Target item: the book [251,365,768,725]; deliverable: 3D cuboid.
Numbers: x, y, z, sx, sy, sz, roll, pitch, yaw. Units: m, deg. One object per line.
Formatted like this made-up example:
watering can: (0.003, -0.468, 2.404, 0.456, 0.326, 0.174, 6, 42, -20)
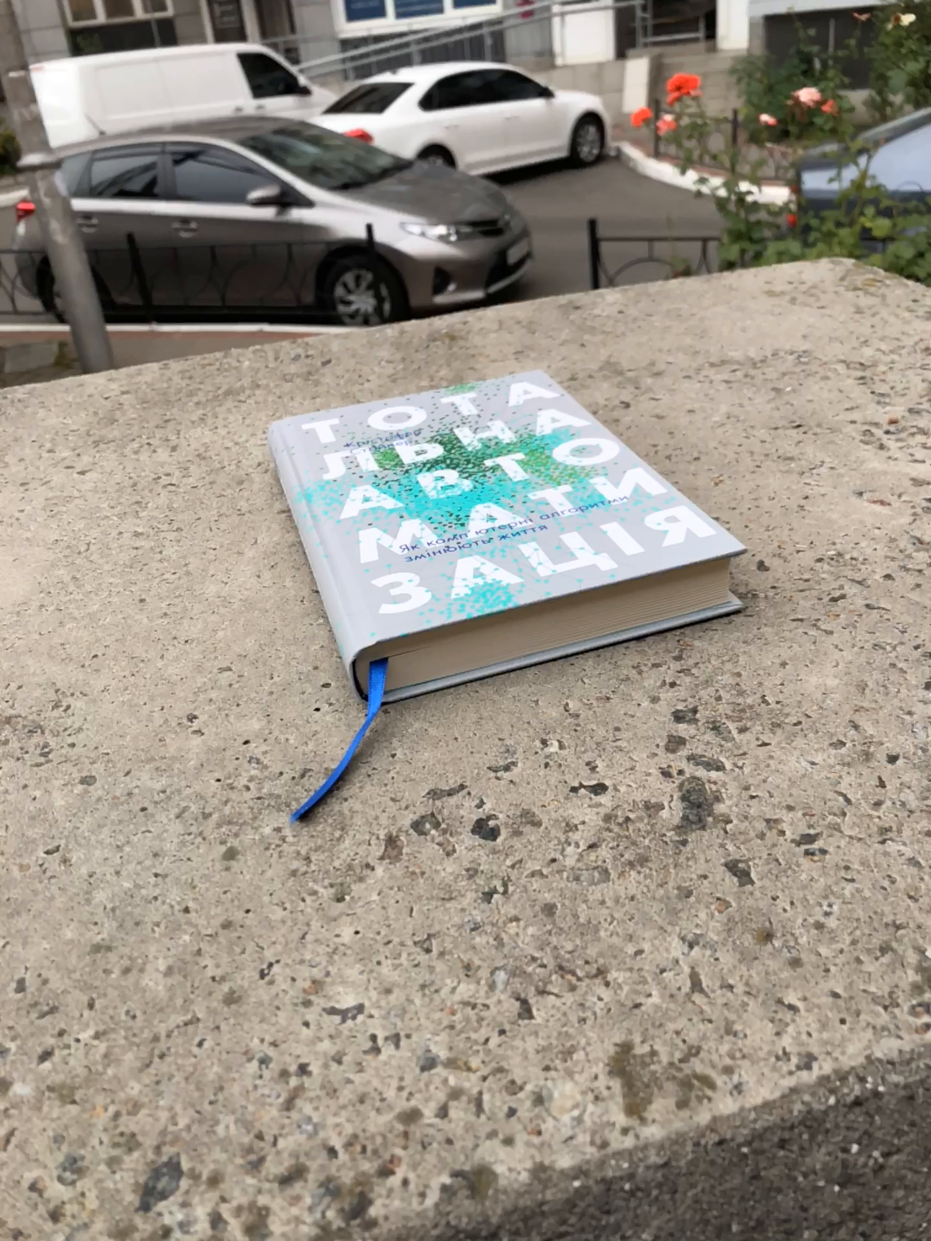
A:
book: (0.001, -0.050, 0.444, 0.156, 0.030, 0.222, -14, 33, -12)
